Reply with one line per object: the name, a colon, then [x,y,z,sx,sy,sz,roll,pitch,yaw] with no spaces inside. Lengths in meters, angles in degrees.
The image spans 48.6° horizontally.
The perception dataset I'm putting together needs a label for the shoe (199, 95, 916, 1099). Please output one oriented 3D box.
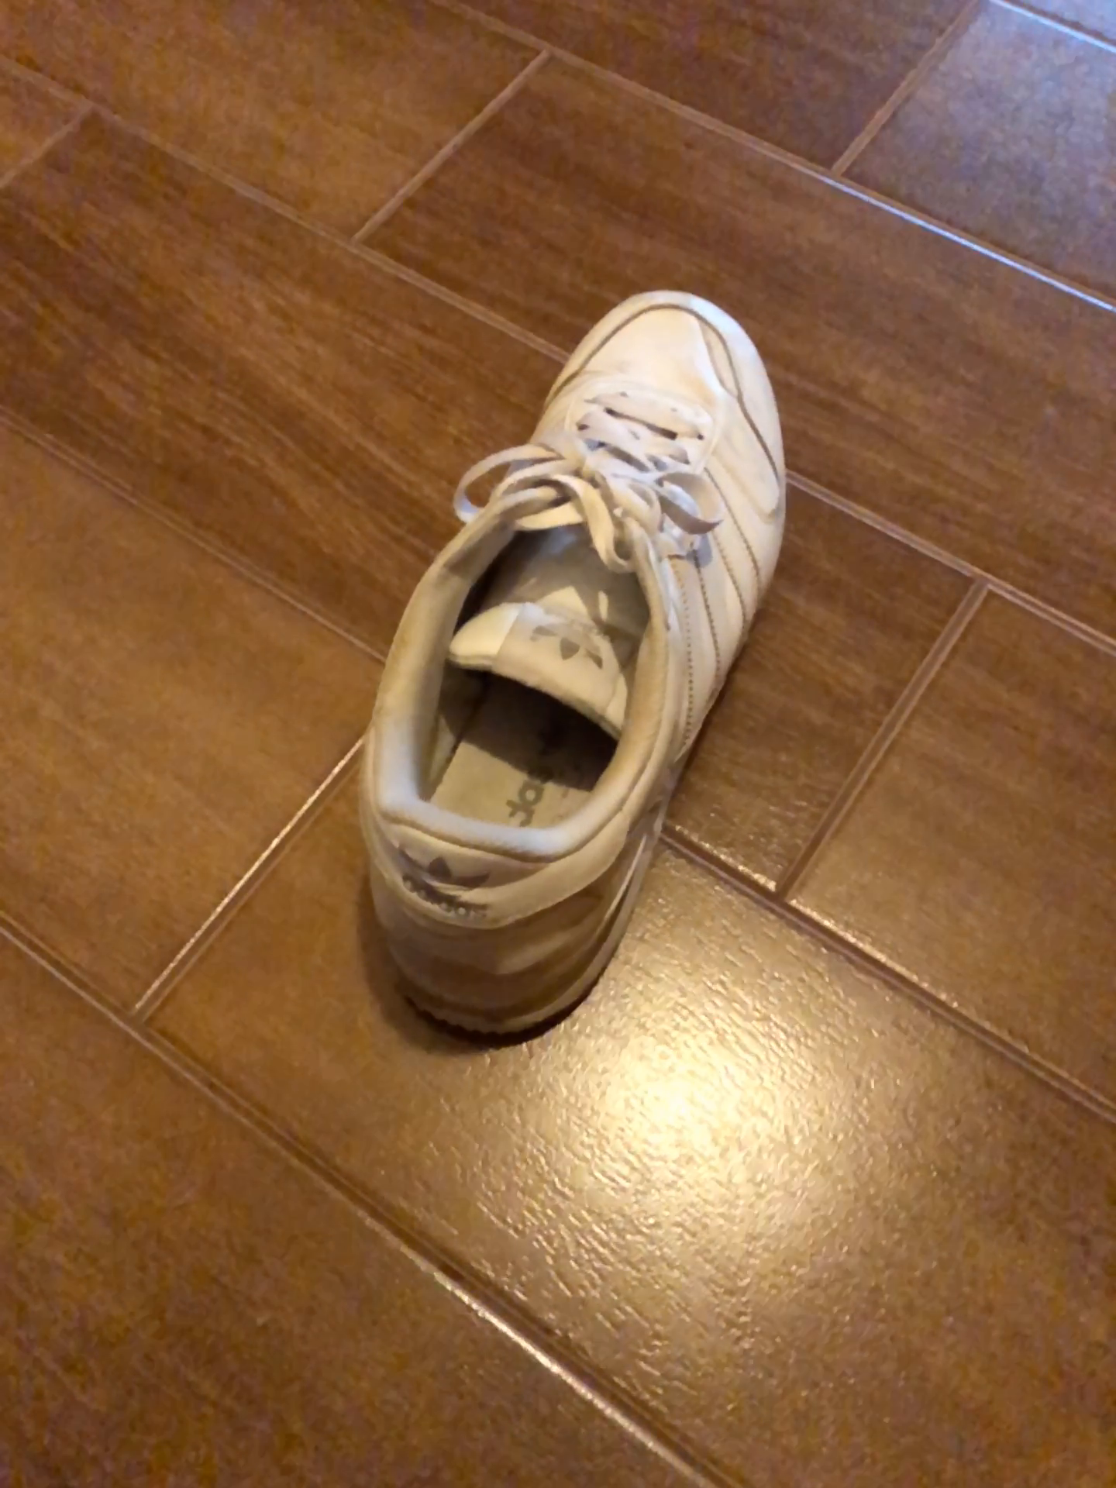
shoe: [0.016,-0.058,0.427,0.120,0.120,0.311,18,66,8]
